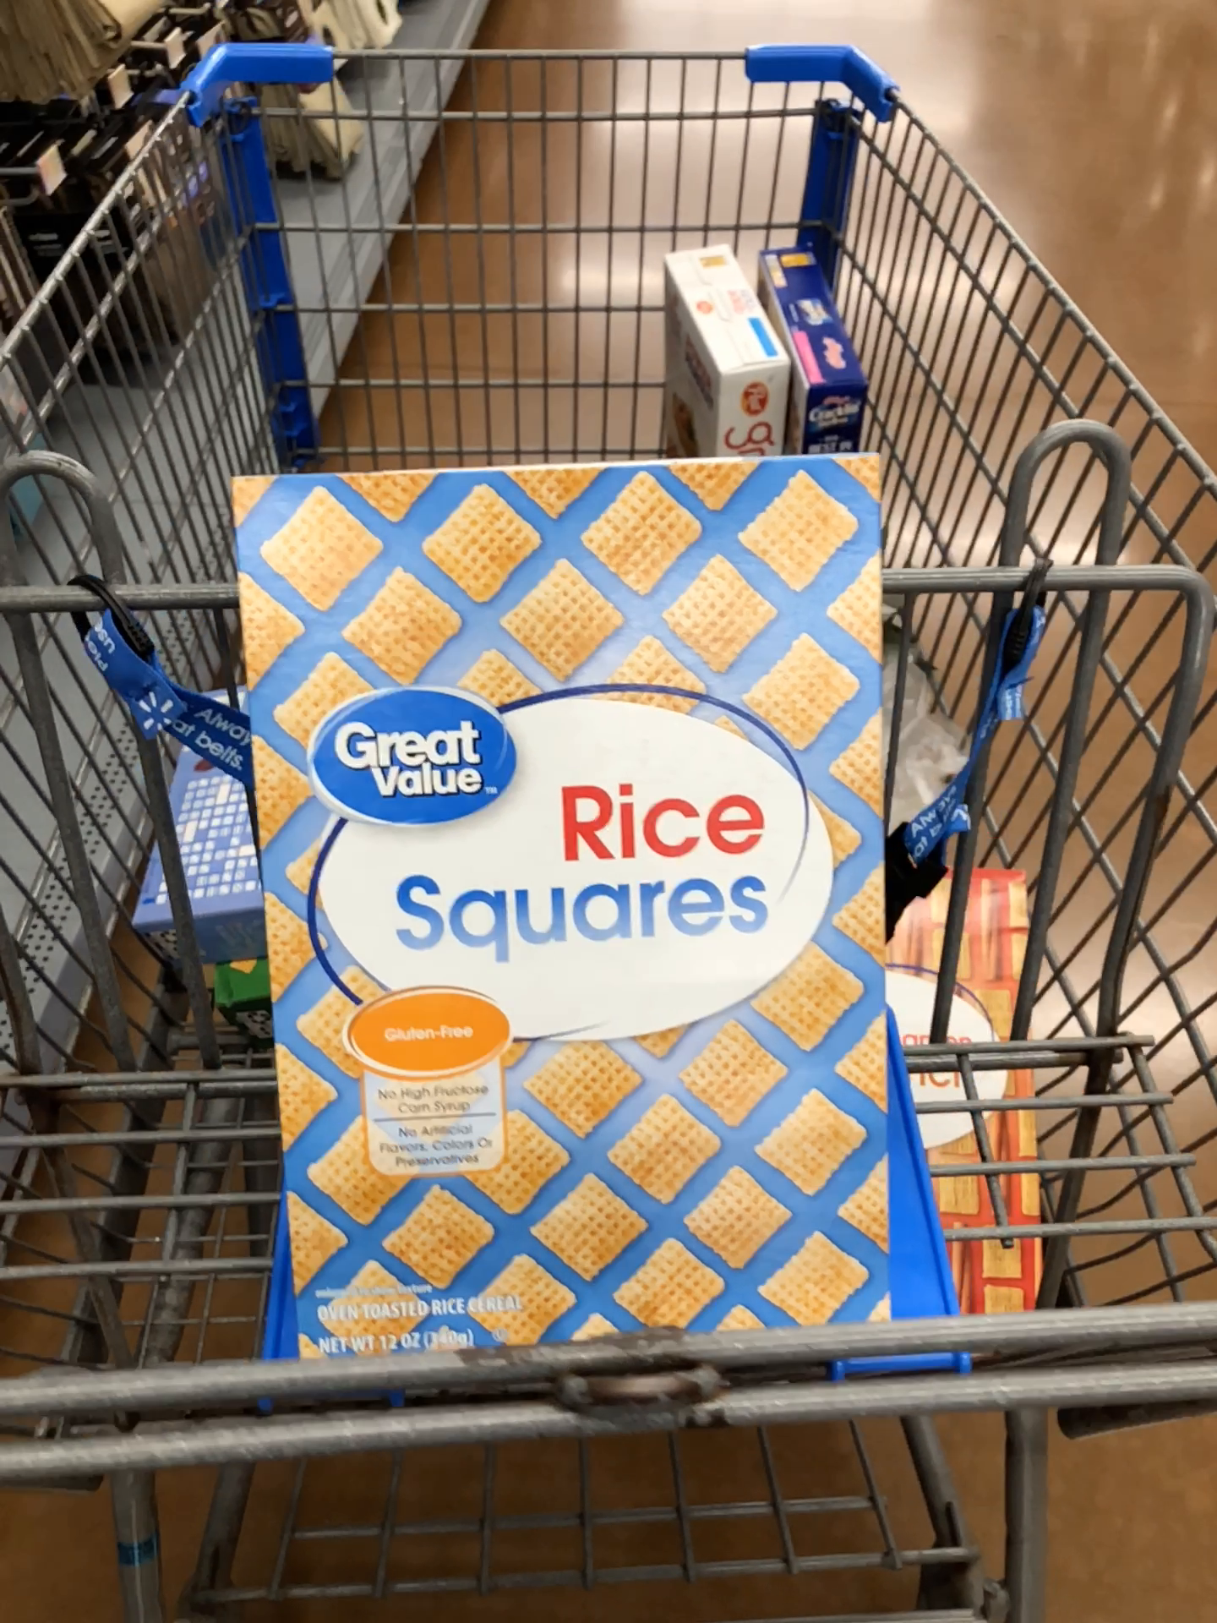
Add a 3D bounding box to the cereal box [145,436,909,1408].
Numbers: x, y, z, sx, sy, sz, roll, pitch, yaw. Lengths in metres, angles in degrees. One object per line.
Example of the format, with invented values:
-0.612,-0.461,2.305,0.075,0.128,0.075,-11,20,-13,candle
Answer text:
-0.020,0.032,0.438,0.210,0.280,0.080,-3,7,-3,cereal box
